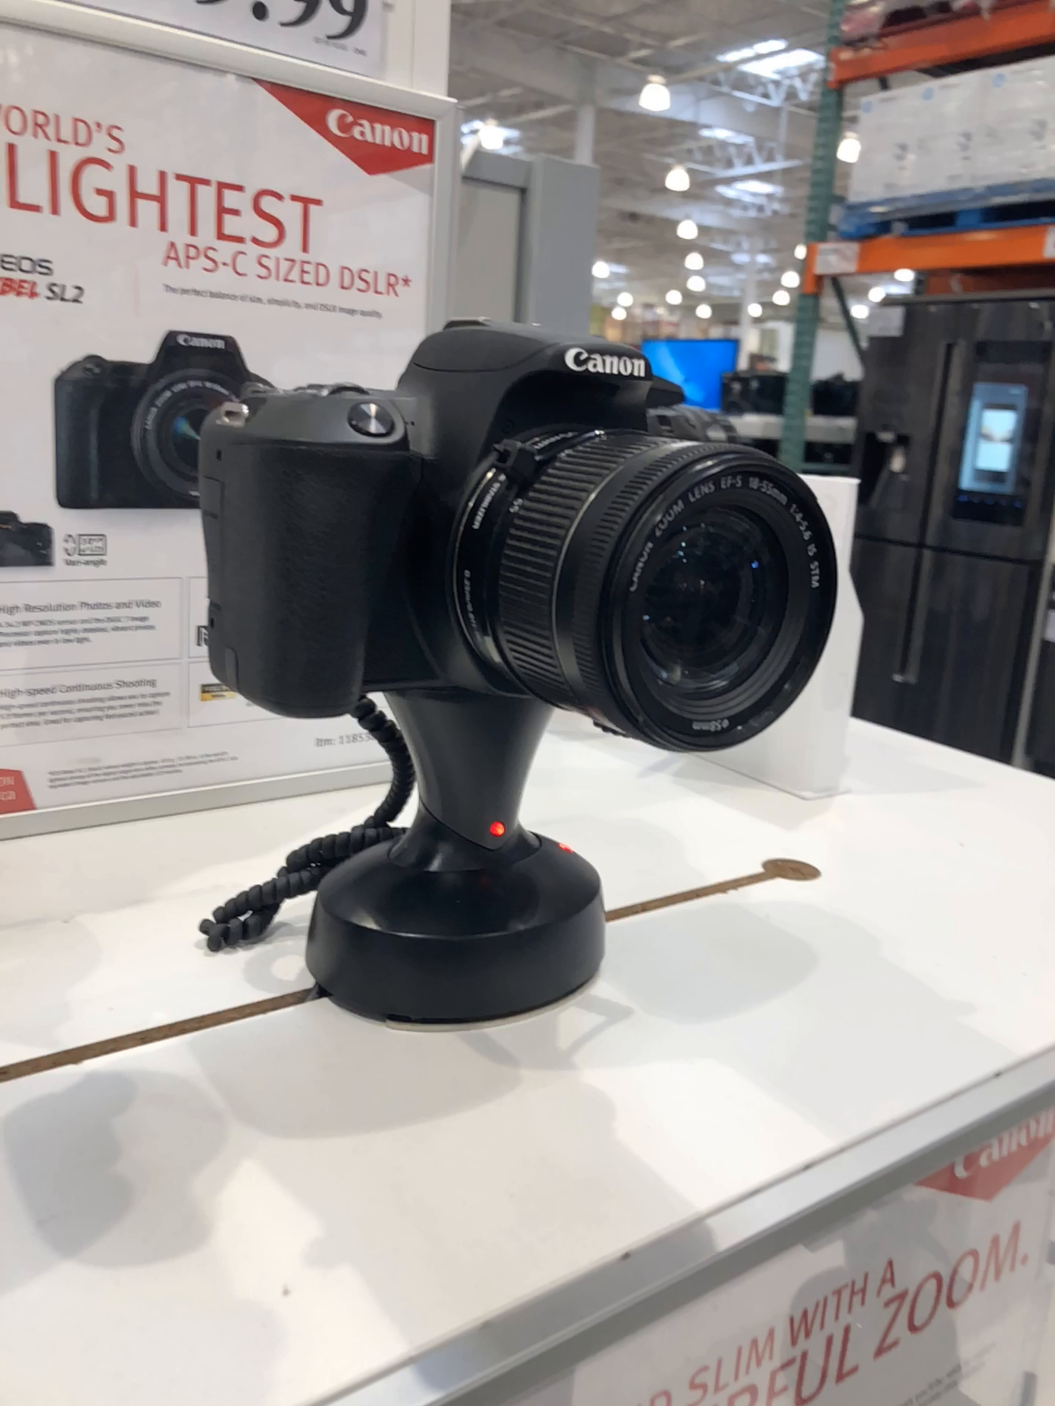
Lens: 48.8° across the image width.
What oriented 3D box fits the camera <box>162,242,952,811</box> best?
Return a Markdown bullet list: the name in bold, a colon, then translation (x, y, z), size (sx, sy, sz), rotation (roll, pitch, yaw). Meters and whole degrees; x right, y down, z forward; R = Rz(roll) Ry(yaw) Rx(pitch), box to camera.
- **camera**: translation (0.000, -0.045, 0.269), size (0.130, 0.090, 0.120), rotation (-6, 17, -35)
